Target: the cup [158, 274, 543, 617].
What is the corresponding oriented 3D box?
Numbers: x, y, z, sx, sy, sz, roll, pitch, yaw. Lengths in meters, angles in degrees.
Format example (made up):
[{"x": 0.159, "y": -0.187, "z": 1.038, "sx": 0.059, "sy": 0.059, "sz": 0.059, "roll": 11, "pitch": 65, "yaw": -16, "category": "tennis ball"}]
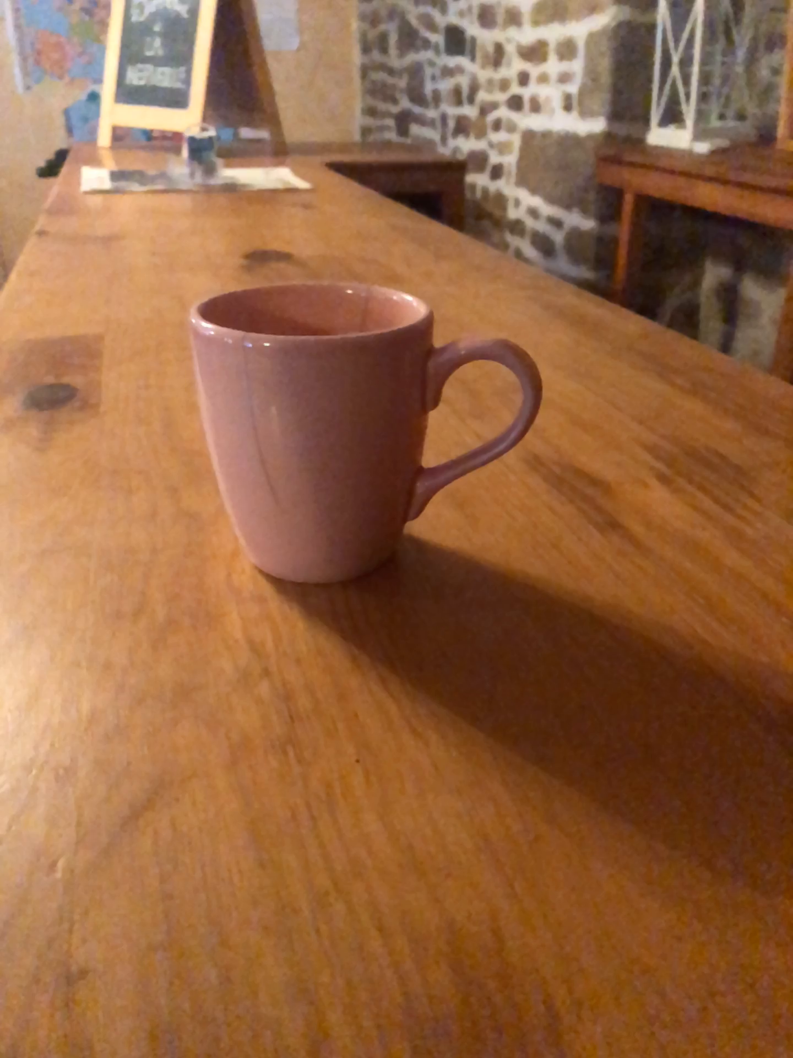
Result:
[{"x": -0.010, "y": -0.037, "z": 0.332, "sx": 0.121, "sy": 0.095, "sz": 0.091, "roll": 4, "pitch": 27, "yaw": 7, "category": "cup"}]
